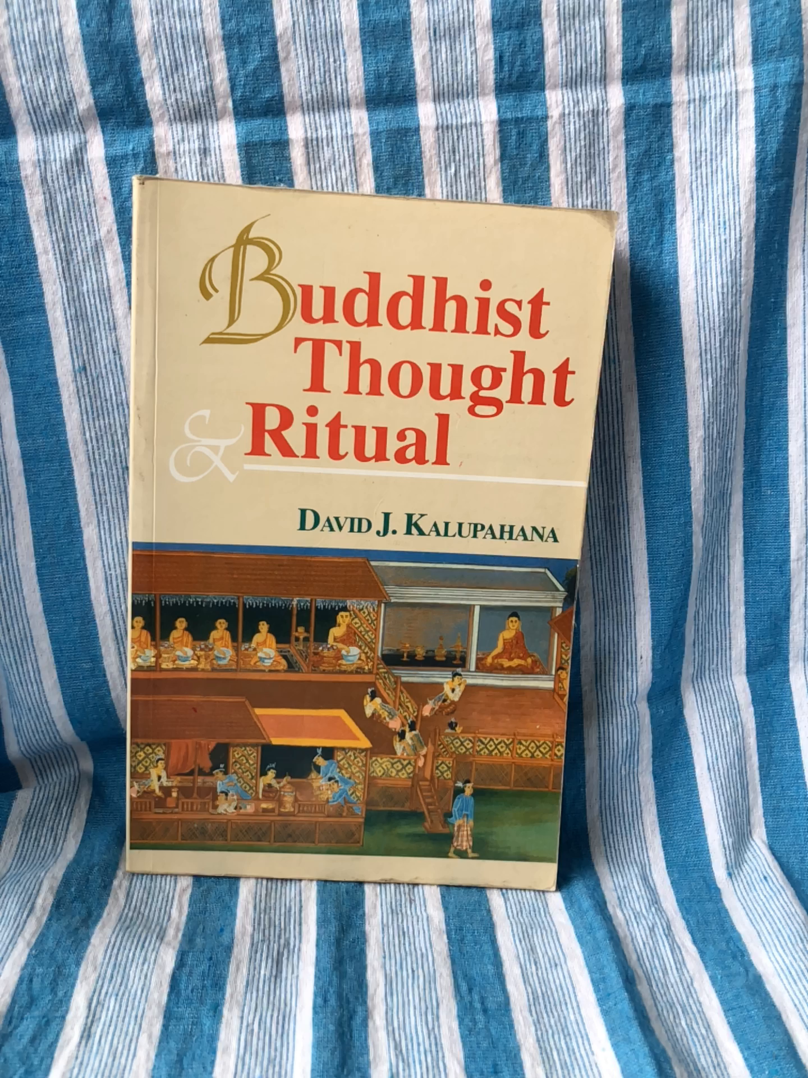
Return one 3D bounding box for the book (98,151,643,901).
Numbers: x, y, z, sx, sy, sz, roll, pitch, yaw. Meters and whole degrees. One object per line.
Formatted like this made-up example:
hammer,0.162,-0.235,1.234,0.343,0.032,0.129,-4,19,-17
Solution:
book,-0.015,0.005,0.278,0.150,0.219,0.020,3,11,-4
